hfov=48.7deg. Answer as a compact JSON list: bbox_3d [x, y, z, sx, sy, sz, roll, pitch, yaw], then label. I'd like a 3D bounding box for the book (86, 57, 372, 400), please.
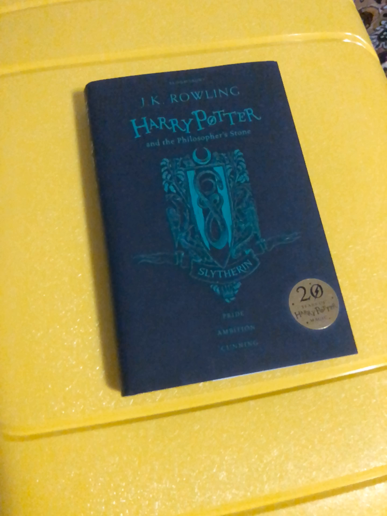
[{"bbox_3d":[0.013,-0.028,0.275,0.136,0.030,0.205,-9,73,-6],"label":"book"}]
